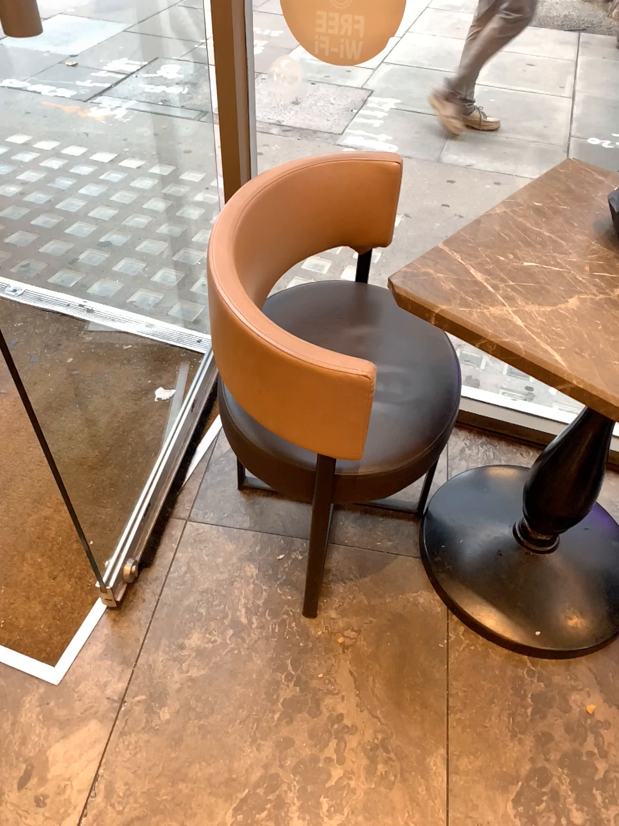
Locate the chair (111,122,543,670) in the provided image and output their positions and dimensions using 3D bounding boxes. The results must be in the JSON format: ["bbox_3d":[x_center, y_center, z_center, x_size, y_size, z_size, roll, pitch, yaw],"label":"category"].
[{"bbox_3d":[0.091,-0.067,1.252,0.511,0.654,0.767,14,46,11],"label":"chair"}]
